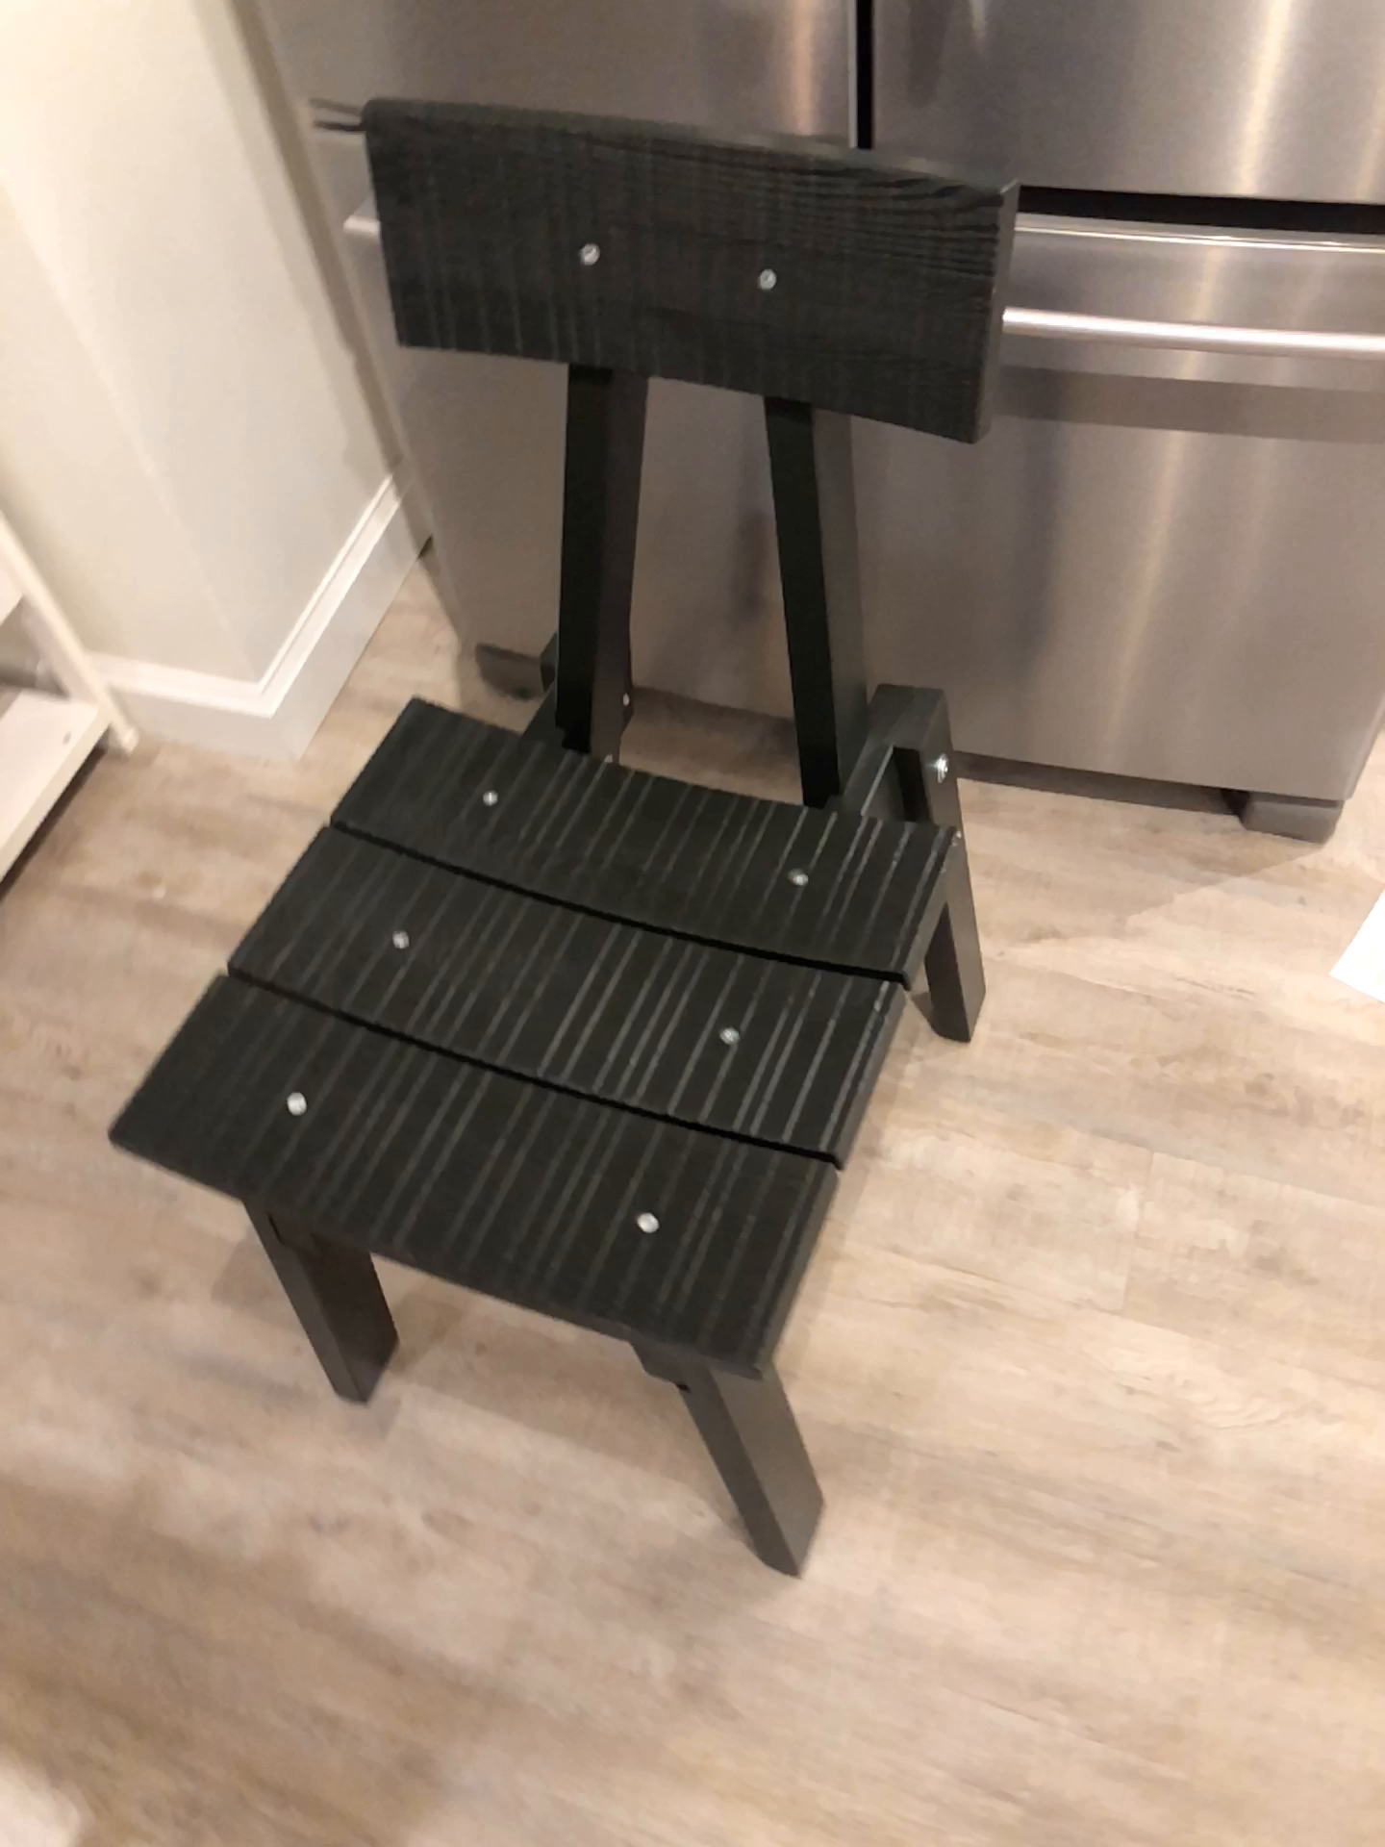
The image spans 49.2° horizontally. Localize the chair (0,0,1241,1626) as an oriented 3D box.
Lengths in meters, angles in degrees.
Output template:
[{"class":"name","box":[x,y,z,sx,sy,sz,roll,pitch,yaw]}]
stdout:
[{"class":"chair","box":[-0.063,0.000,0.927,0.521,0.796,0.512,16,60,17]}]
